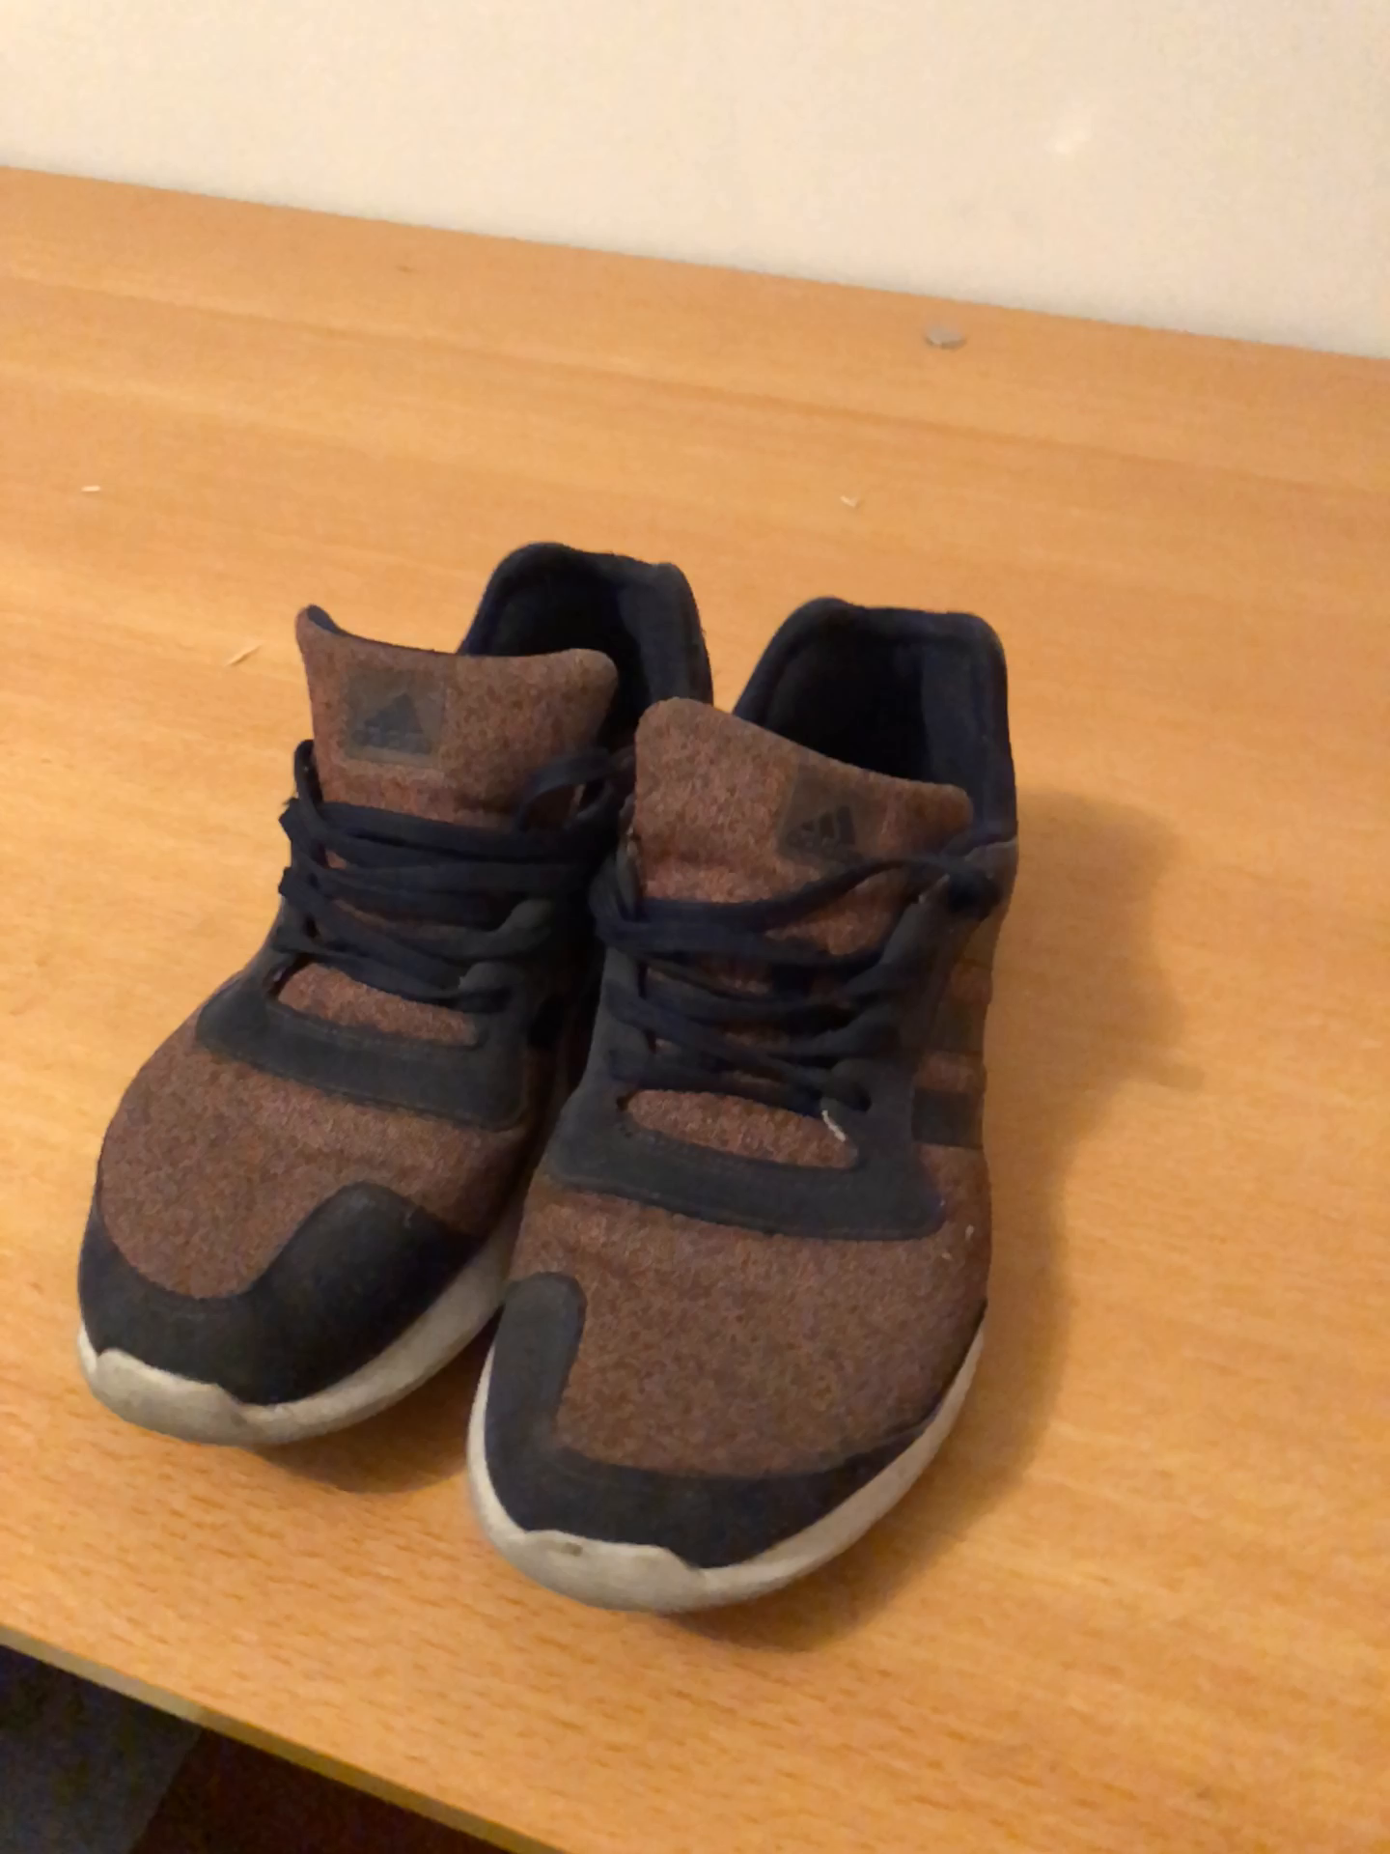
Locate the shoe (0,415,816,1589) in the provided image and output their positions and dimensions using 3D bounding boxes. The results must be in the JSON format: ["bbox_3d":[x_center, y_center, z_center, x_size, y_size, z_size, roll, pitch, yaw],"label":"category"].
[{"bbox_3d":[-0.070,-0.014,0.406,0.130,0.099,0.312,12,44,12],"label":"shoe"}]

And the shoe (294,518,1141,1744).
[{"bbox_3d":[0.027,0.019,0.355,0.110,0.099,0.262,12,44,12],"label":"shoe"}]
